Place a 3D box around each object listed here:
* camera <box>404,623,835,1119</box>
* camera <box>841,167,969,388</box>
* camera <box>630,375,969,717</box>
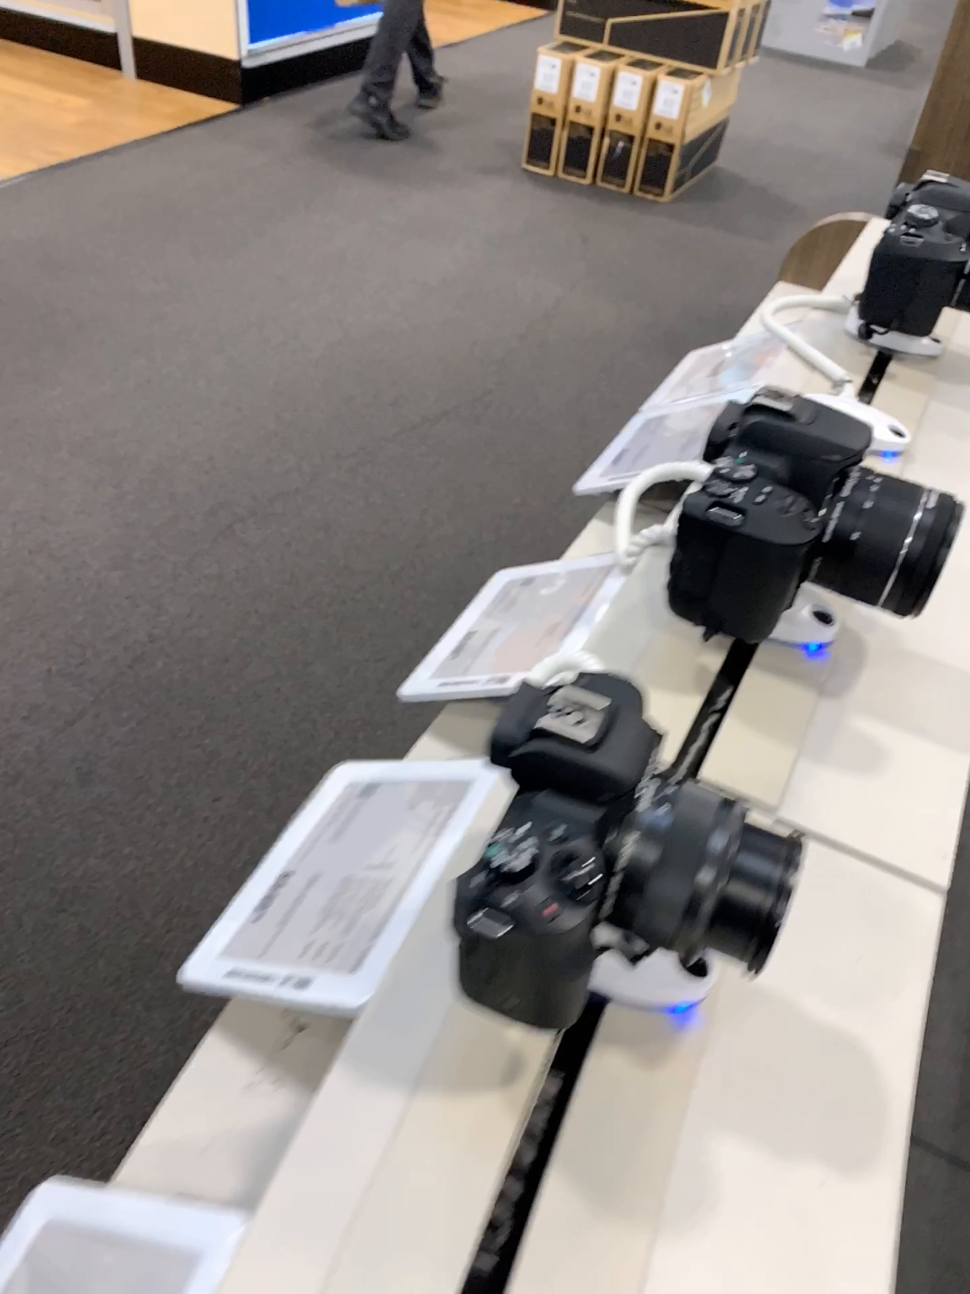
[{"bbox_3d":[0.048,0.075,0.360,0.111,0.088,0.112,20,44,13],"label":"camera"},{"bbox_3d":[0.394,-0.306,0.818,0.146,0.101,0.134,24,44,17],"label":"camera"},{"bbox_3d":[0.165,-0.057,0.518,0.135,0.089,0.122,20,44,13],"label":"camera"}]
